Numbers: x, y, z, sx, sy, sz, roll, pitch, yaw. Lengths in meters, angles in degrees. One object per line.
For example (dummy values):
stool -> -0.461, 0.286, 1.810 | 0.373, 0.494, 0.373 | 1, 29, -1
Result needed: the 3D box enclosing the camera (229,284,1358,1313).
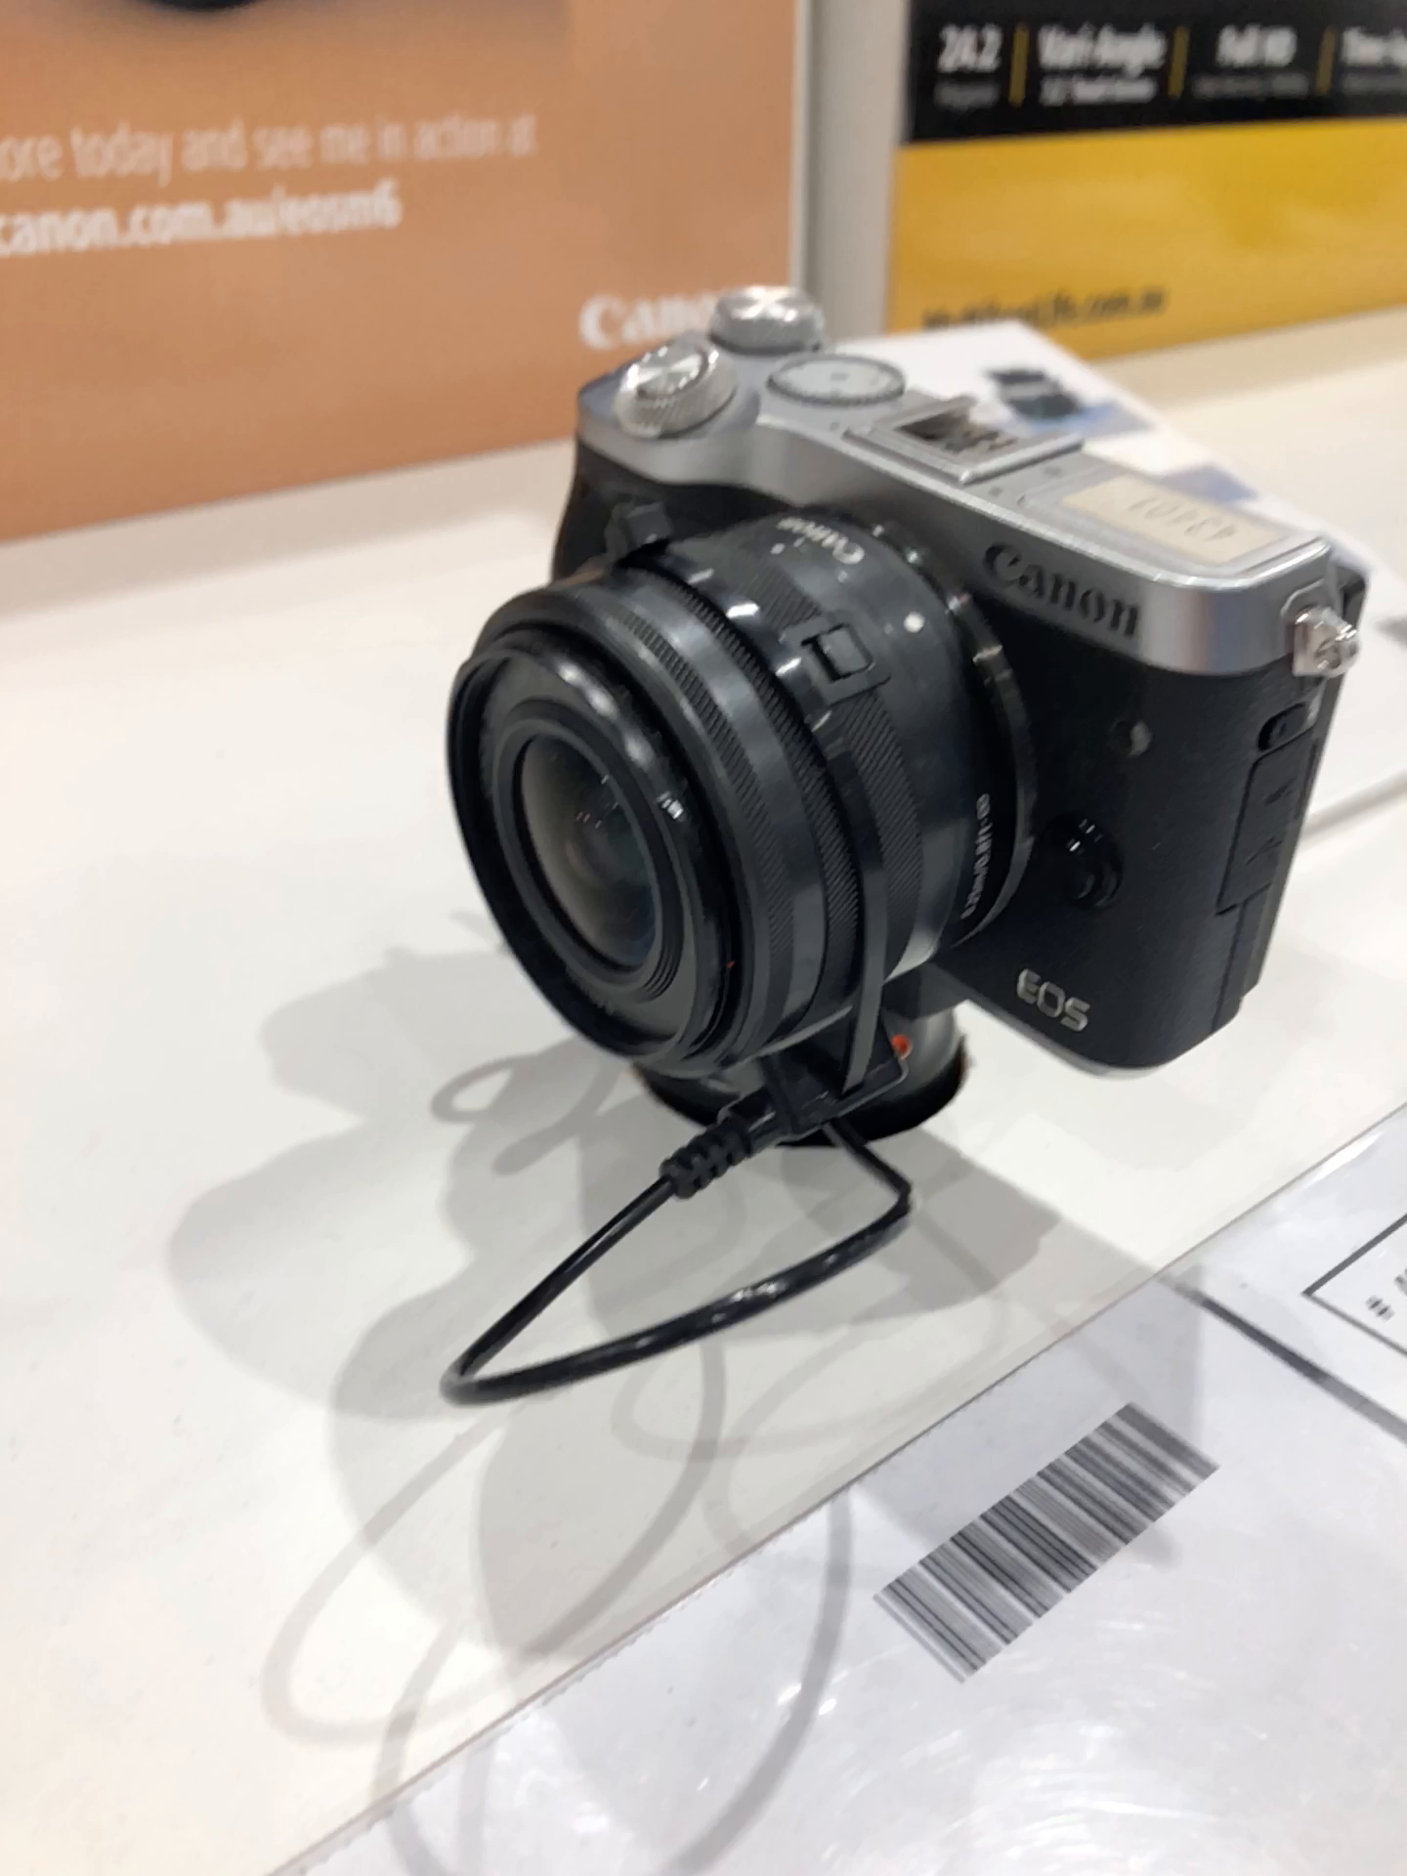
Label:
camera -> 0.006, -0.028, 0.203 | 0.083, 0.075, 0.103 | -25, 42, -31
